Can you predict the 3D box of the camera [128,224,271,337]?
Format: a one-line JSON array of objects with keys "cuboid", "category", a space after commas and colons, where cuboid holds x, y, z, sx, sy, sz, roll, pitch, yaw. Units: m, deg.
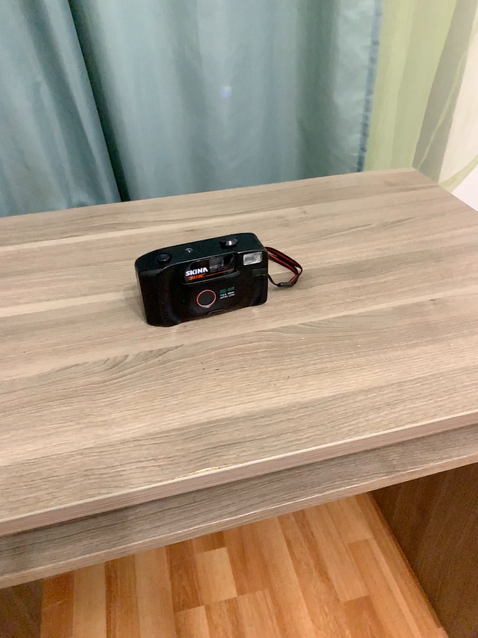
[{"cuboid": [-0.035, -0.038, 0.460, 0.120, 0.069, 0.046, -14, 38, -17], "category": "camera"}]
